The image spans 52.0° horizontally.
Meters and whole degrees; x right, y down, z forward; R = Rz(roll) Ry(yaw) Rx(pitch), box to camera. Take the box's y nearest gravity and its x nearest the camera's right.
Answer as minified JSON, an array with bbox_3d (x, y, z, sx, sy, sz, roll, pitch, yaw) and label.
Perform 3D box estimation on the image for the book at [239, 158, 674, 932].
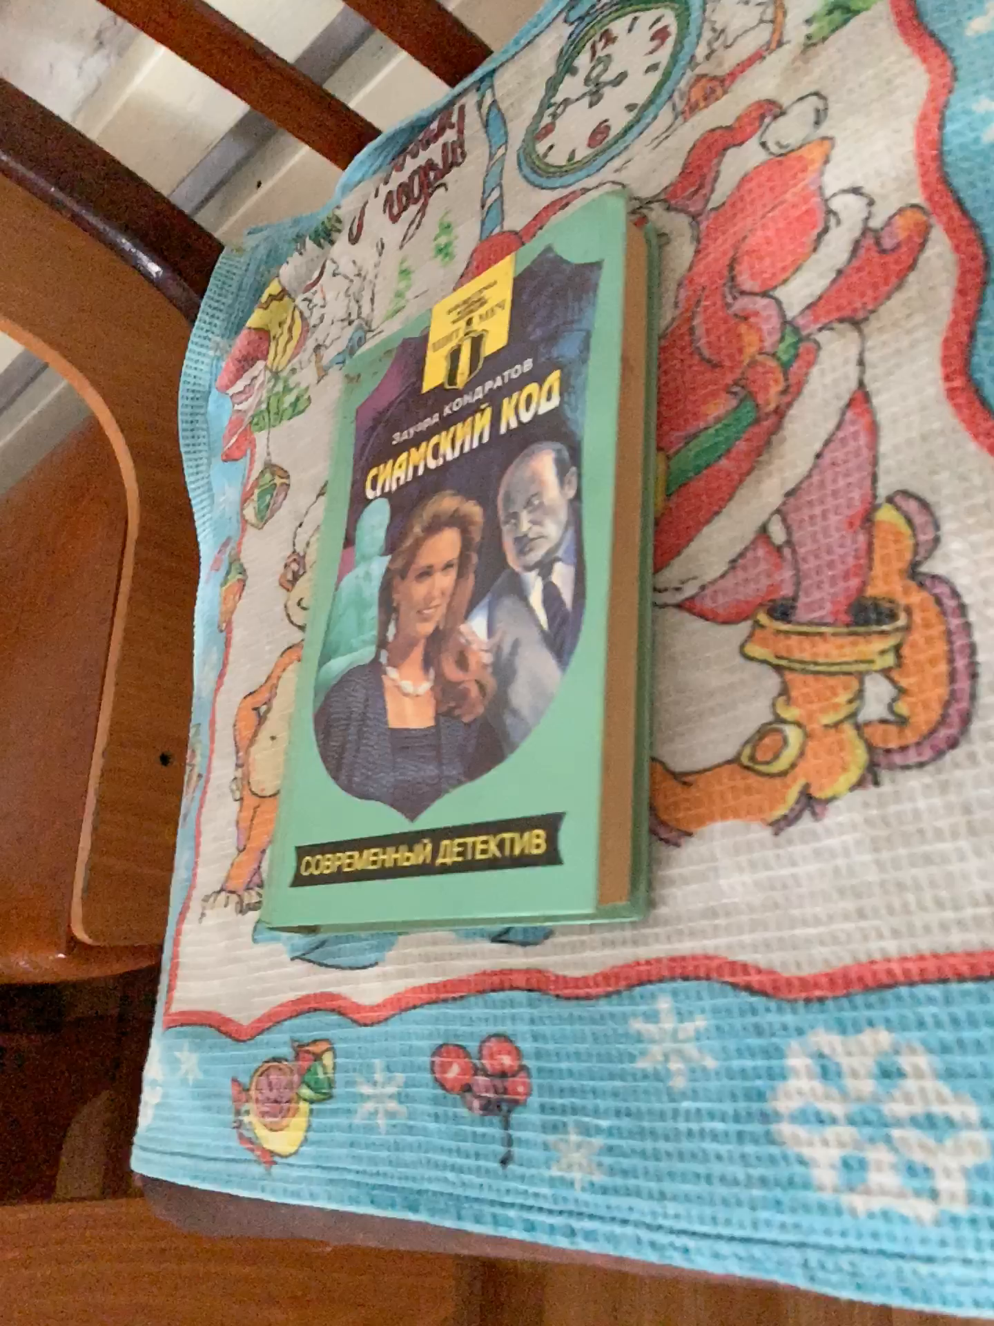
[{"bbox_3d":[-0.013,-0.026,0.298,0.141,0.023,0.200,-16,61,44],"label":"book"}]
